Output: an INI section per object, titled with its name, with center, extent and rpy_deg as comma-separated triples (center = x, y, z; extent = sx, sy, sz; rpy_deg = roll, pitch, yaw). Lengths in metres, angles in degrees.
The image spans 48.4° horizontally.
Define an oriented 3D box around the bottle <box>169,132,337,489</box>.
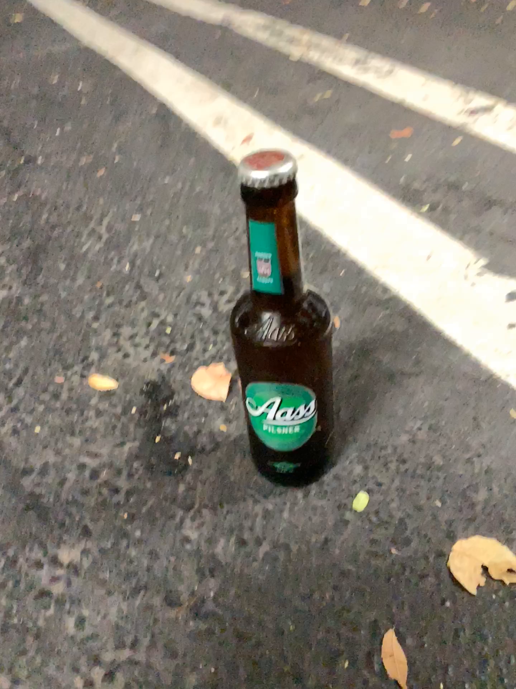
[bottle]
center = 0.007, -0.005, 0.335
extent = 0.070, 0.210, 0.070
rpy_deg = -3, 44, 3
